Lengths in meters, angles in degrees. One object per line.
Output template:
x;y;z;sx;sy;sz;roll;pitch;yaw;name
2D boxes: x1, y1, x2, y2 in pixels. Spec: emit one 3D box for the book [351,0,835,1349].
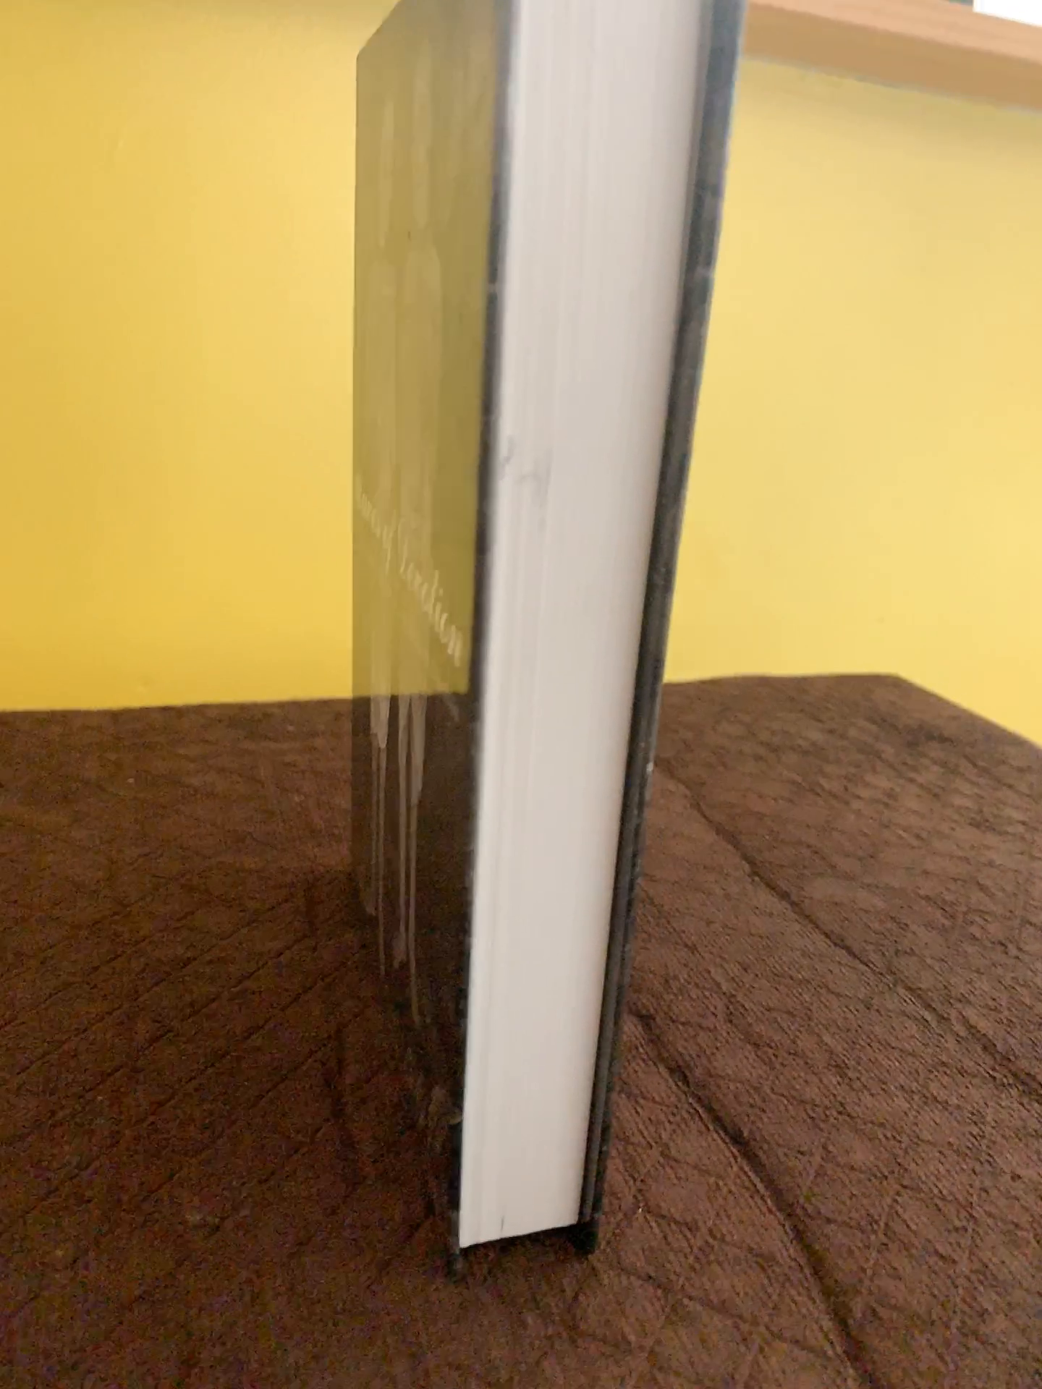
-0.006;-0.020;0.232;0.040;0.229;0.161;-3;20;-14;book
